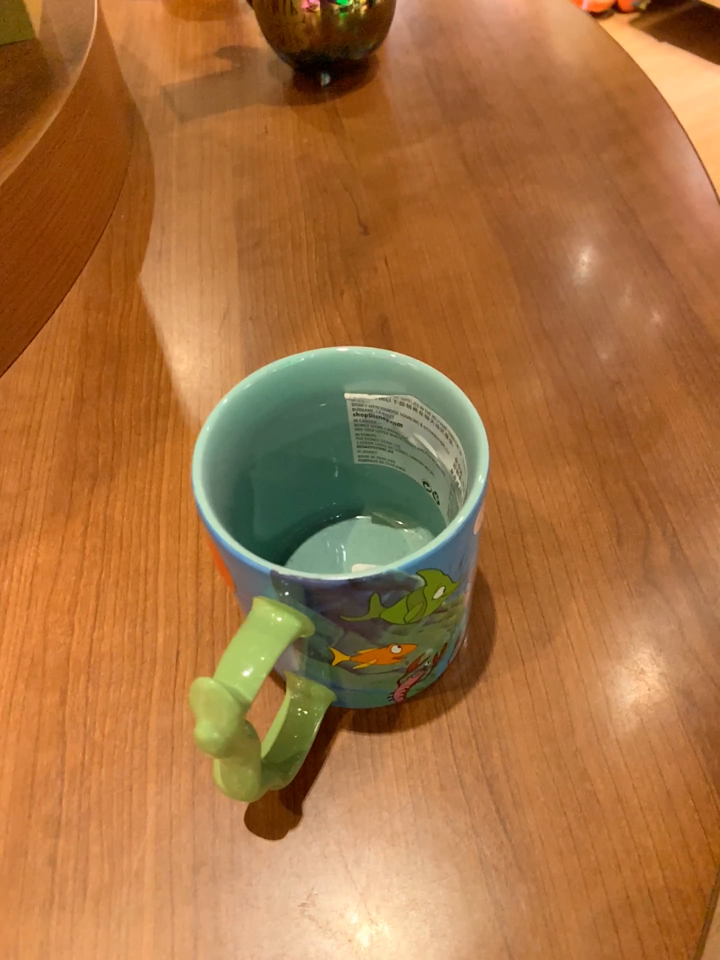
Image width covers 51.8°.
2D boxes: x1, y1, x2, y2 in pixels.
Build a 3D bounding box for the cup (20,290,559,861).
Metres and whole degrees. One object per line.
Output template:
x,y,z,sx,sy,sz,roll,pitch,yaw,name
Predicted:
-0.012,0.029,0.250,0.091,0.101,0.135,27,59,22,cup
